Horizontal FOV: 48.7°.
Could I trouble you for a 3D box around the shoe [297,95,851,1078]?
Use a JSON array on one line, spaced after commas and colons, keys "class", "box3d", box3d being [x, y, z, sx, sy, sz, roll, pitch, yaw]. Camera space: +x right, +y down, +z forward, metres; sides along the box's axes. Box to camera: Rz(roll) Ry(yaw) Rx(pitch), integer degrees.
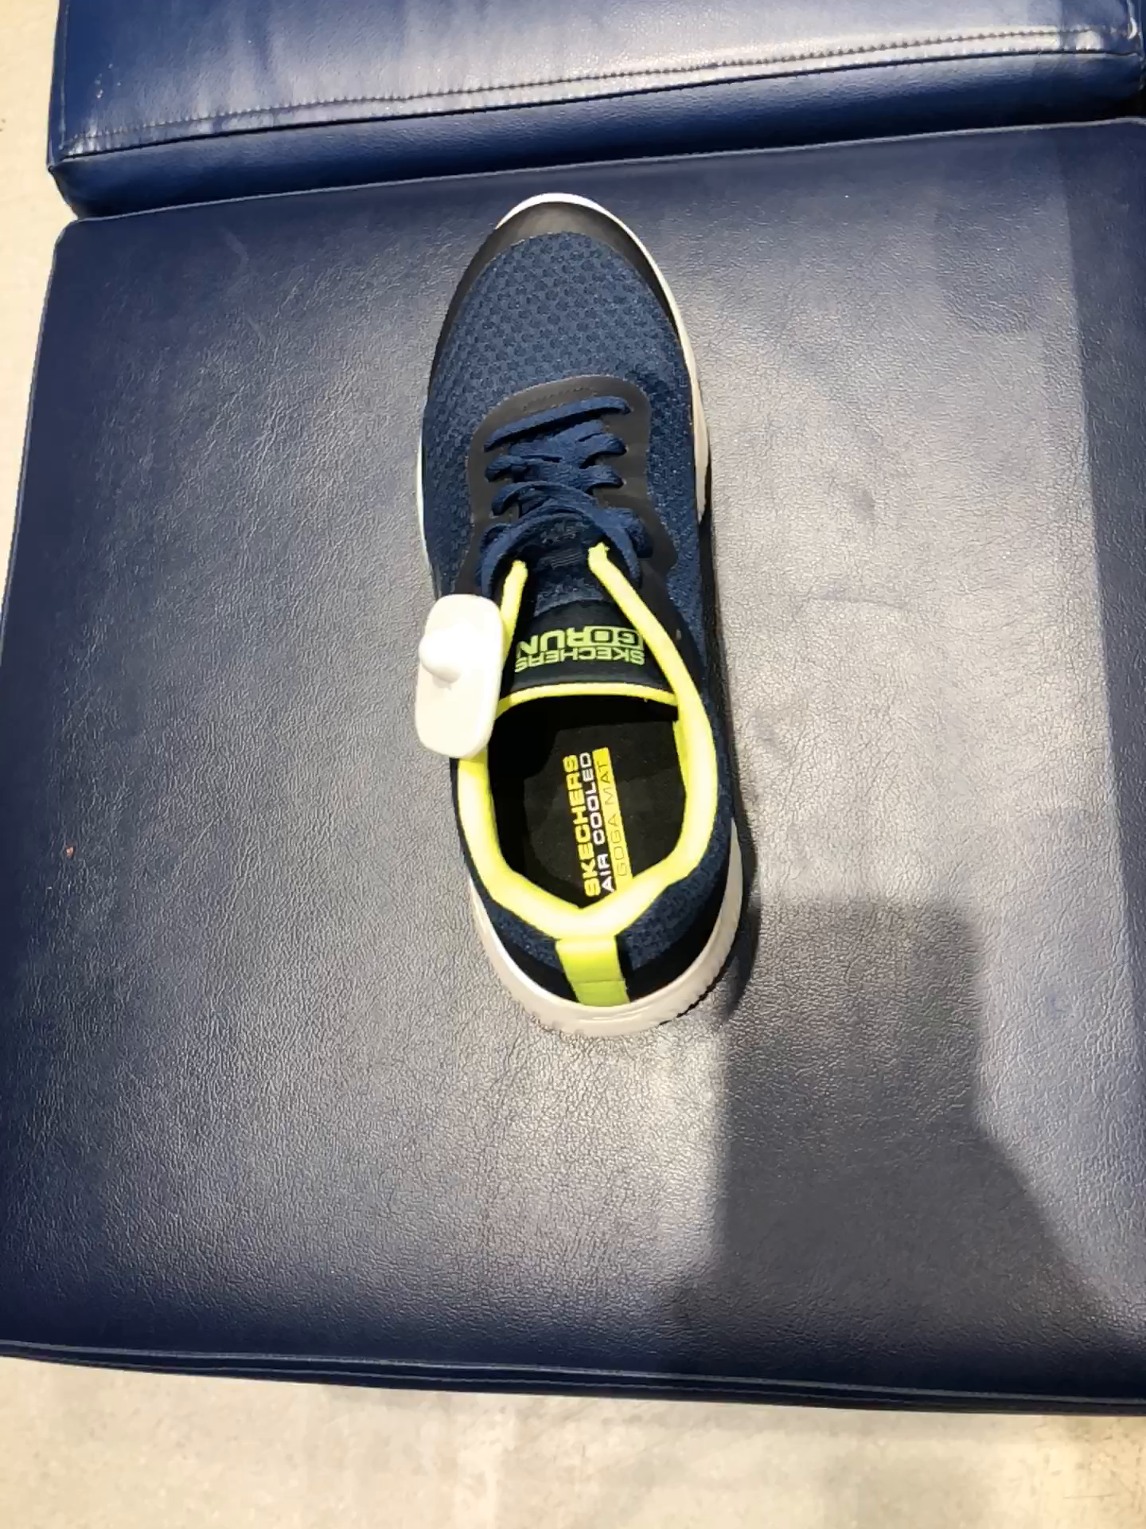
[{"class": "shoe", "box3d": [0.003, -0.042, 0.397, 0.113, 0.132, 0.255, -10, 77, 7]}]
